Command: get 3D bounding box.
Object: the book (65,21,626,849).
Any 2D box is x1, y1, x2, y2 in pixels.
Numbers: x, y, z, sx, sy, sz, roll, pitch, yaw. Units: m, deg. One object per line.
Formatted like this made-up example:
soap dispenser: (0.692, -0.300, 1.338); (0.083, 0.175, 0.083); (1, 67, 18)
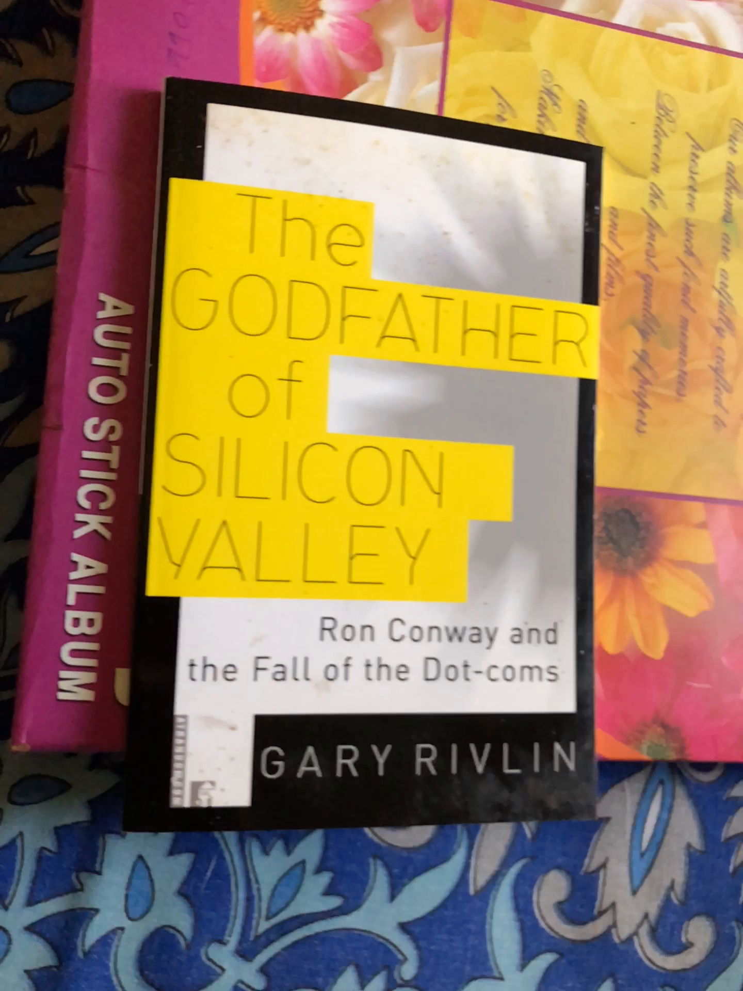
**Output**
book: (-0.003, -0.013, 0.248); (0.150, 0.020, 0.220); (4, 88, -13)
